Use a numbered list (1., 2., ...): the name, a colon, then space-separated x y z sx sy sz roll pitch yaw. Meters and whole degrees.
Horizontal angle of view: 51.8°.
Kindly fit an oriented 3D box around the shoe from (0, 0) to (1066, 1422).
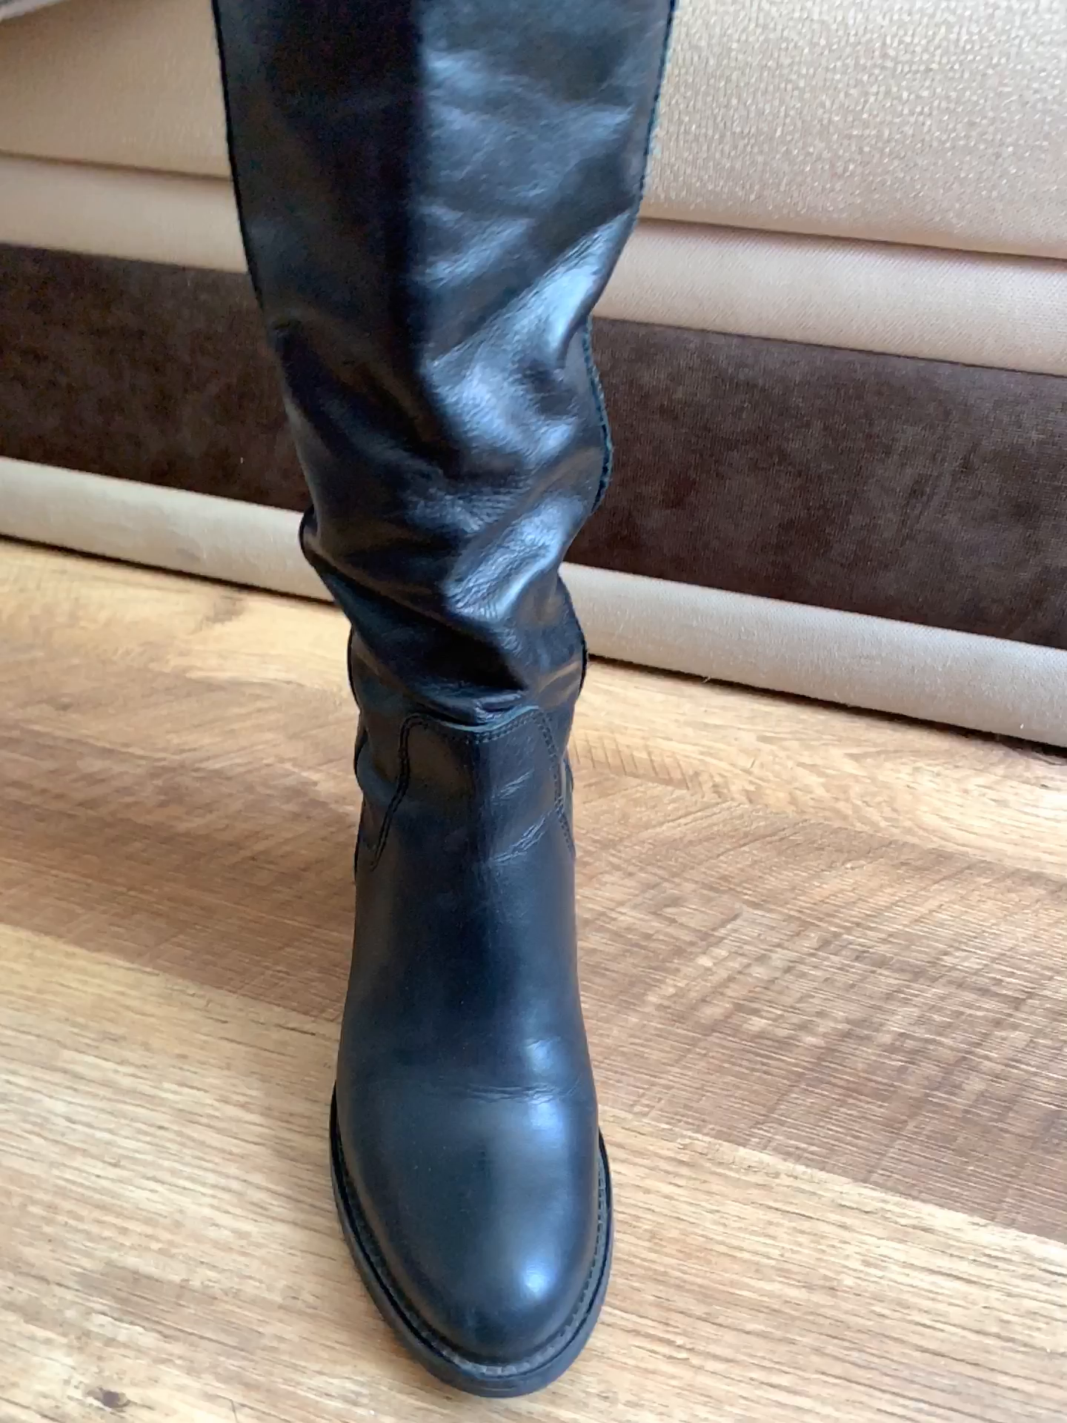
1. shoe: -0.010 -0.090 0.233 0.100 0.497 0.211 -1 32 -7
